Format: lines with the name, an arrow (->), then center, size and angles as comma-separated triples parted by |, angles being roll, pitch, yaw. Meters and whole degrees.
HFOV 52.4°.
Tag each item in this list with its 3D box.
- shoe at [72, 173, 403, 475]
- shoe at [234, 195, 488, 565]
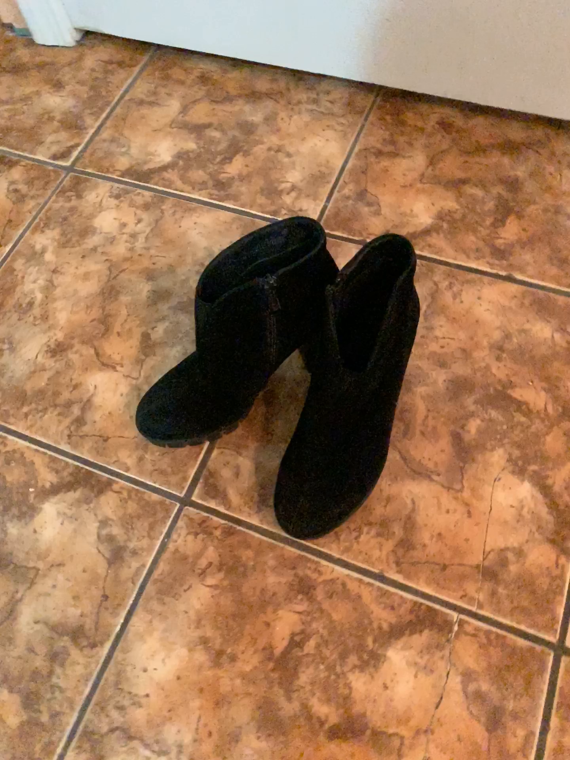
shoe -> -0.029, -0.039, 0.509 | 0.229, 0.180, 0.094 | -27, 63, -8
shoe -> 0.067, 0.007, 0.476 | 0.094, 0.180, 0.230 | 21, 66, 15
